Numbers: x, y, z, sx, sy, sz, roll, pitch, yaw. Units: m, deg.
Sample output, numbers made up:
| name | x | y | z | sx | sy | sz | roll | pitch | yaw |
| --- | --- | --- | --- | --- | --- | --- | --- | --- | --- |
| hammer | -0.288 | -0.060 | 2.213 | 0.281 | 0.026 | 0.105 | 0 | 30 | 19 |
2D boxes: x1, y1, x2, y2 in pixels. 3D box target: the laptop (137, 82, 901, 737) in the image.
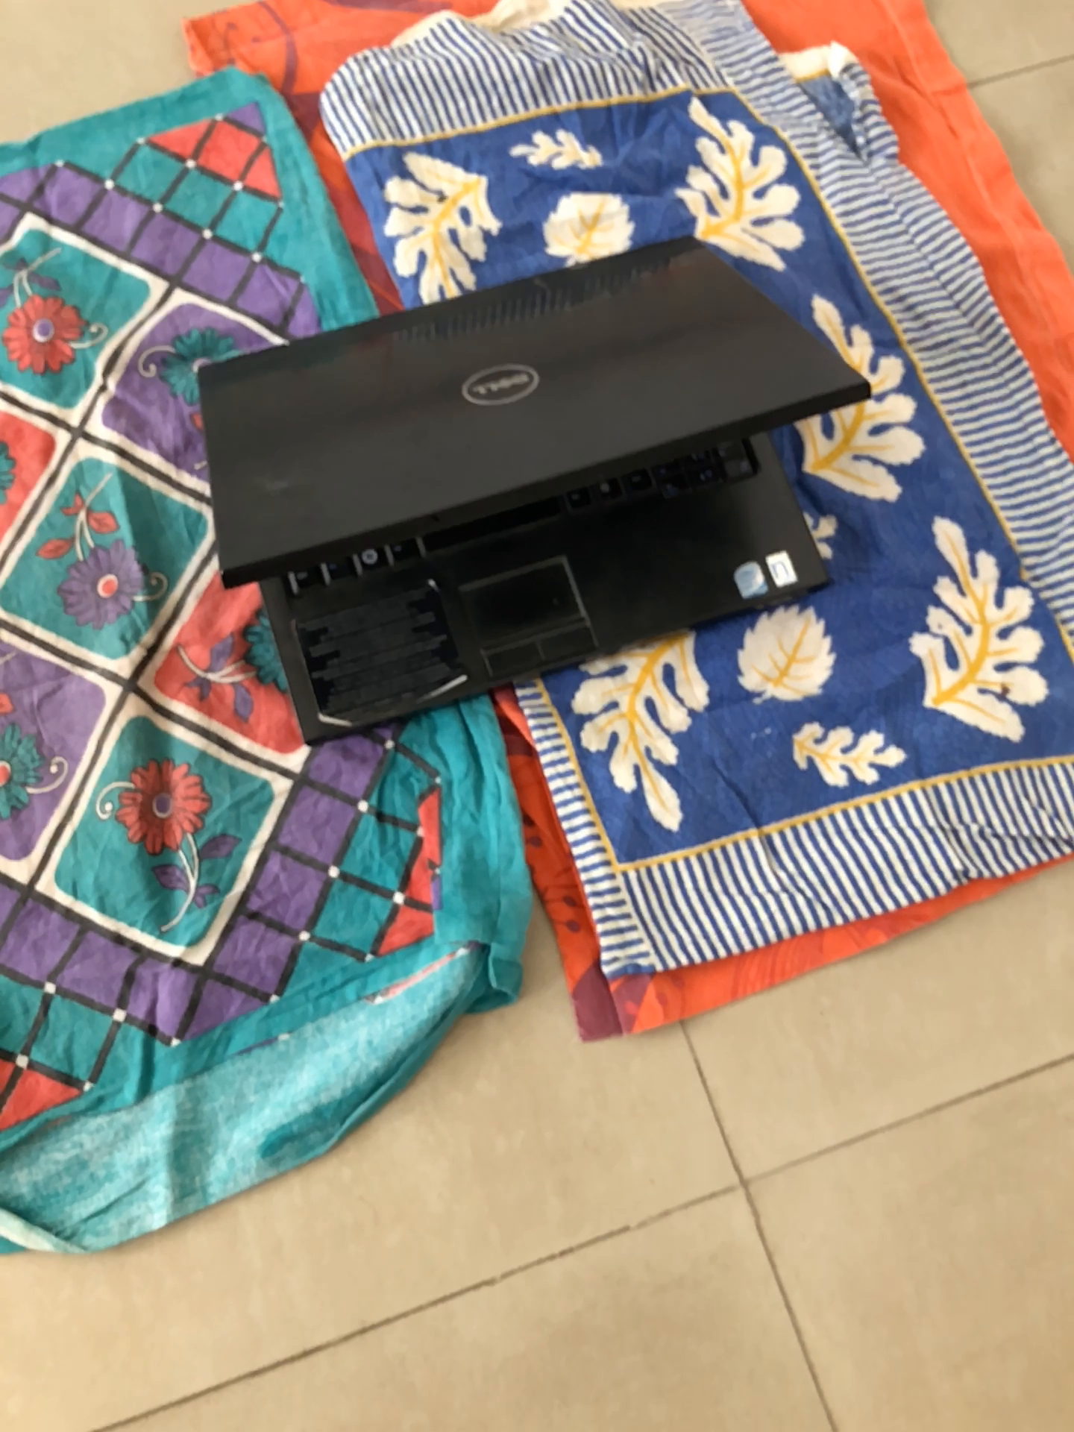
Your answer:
| name | x | y | z | sx | sy | sz | roll | pitch | yaw |
| --- | --- | --- | --- | --- | --- | --- | --- | --- | --- |
| laptop | -0.016 | -0.157 | 0.629 | 0.299 | 0.144 | 0.235 | -17 | 73 | -6 |
